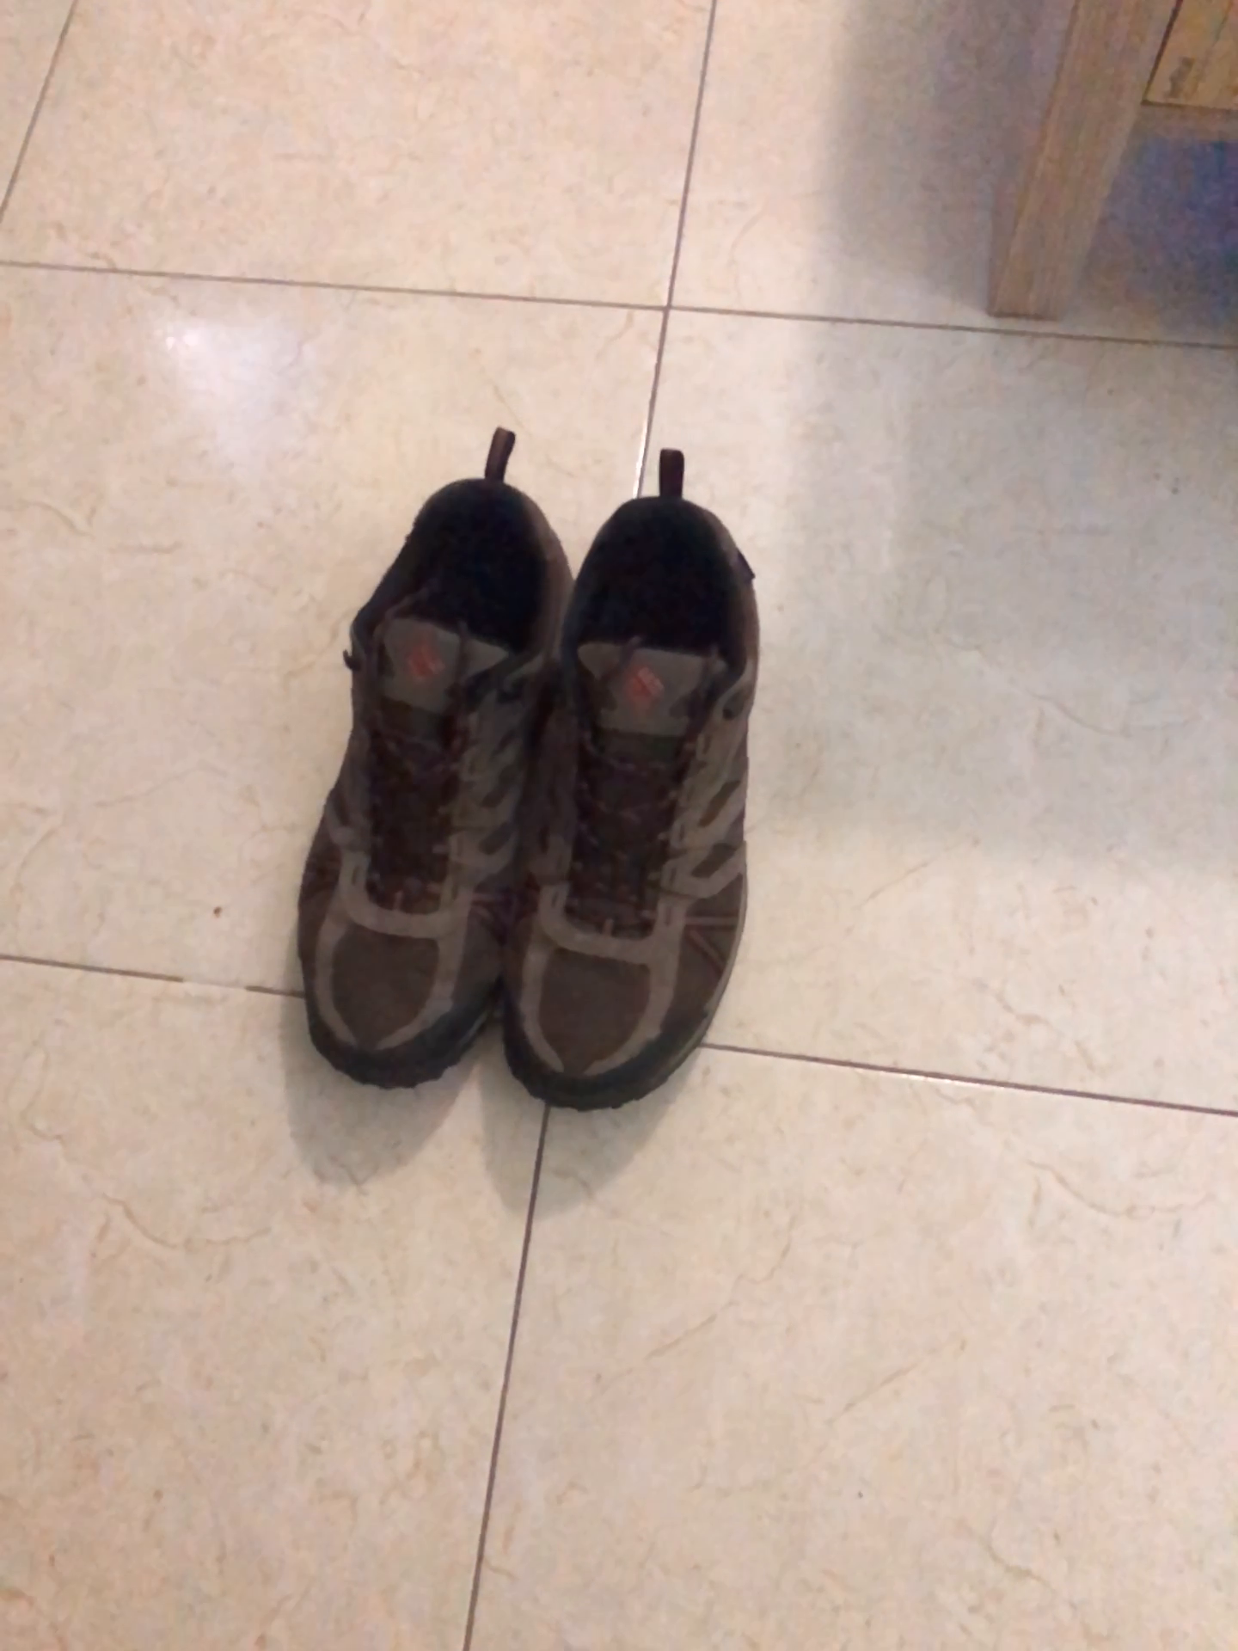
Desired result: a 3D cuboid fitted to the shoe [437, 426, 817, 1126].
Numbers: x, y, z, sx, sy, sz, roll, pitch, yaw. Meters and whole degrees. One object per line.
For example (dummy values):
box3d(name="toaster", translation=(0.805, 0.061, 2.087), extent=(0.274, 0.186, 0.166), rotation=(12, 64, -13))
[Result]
box3d(name="shoe", translation=(0.013, -0.024, 0.678), extent=(0.120, 0.120, 0.310), rotation=(8, 72, 7))

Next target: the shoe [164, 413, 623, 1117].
box3d(name="shoe", translation=(-0.095, -0.031, 0.672), extent=(0.130, 0.110, 0.310), rotation=(10, 72, 7))
